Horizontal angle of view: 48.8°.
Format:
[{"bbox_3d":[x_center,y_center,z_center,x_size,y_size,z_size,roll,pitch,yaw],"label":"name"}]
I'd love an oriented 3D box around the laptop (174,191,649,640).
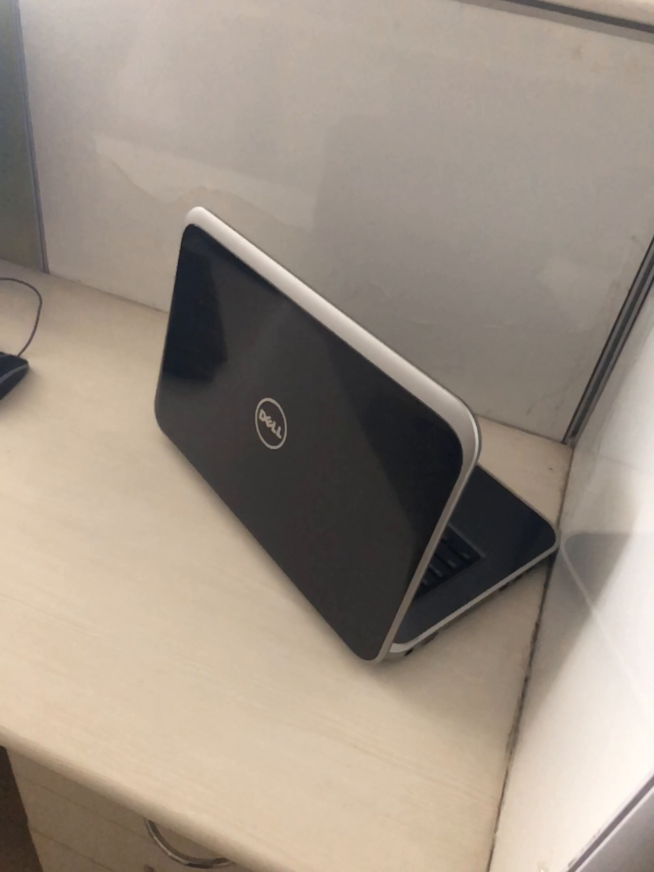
[{"bbox_3d":[0.052,-0.046,0.673,0.239,0.217,0.334,-22,50,-35],"label":"laptop"}]
